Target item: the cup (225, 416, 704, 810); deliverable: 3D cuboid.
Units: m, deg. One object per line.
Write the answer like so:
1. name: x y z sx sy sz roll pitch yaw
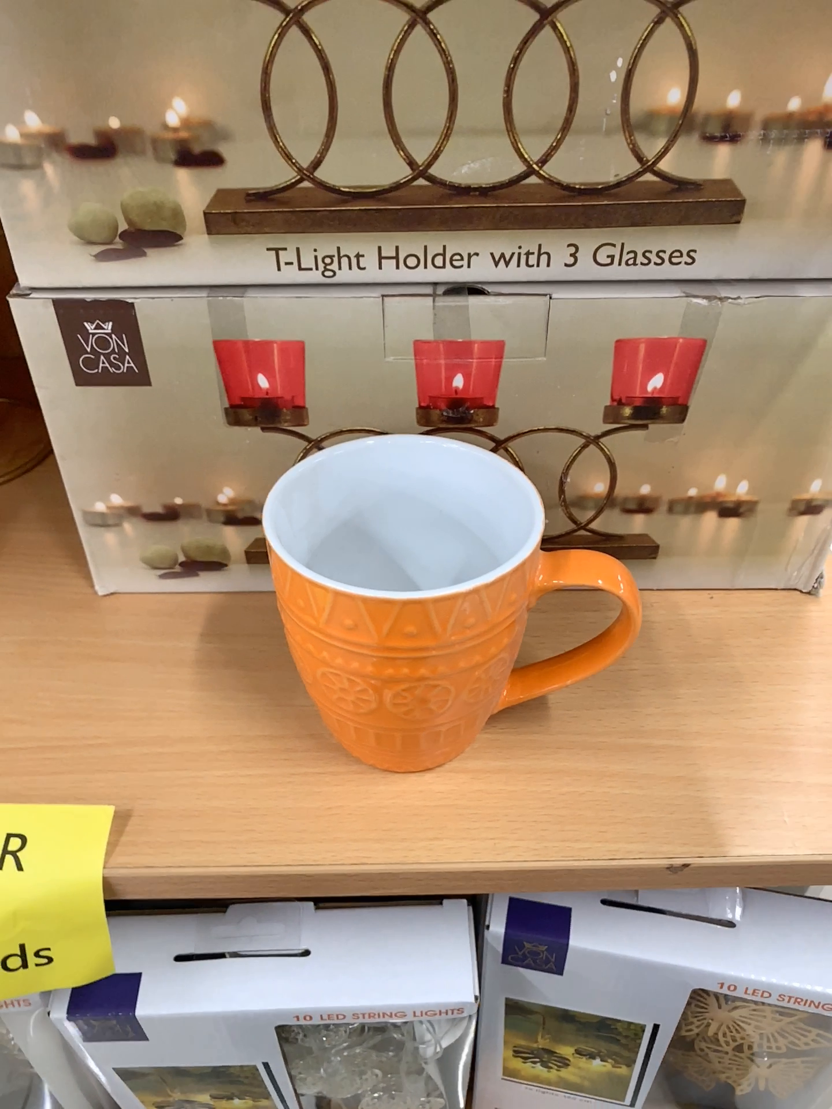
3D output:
1. cup: 0.015 0.016 0.271 0.120 0.080 0.080 5 38 5
